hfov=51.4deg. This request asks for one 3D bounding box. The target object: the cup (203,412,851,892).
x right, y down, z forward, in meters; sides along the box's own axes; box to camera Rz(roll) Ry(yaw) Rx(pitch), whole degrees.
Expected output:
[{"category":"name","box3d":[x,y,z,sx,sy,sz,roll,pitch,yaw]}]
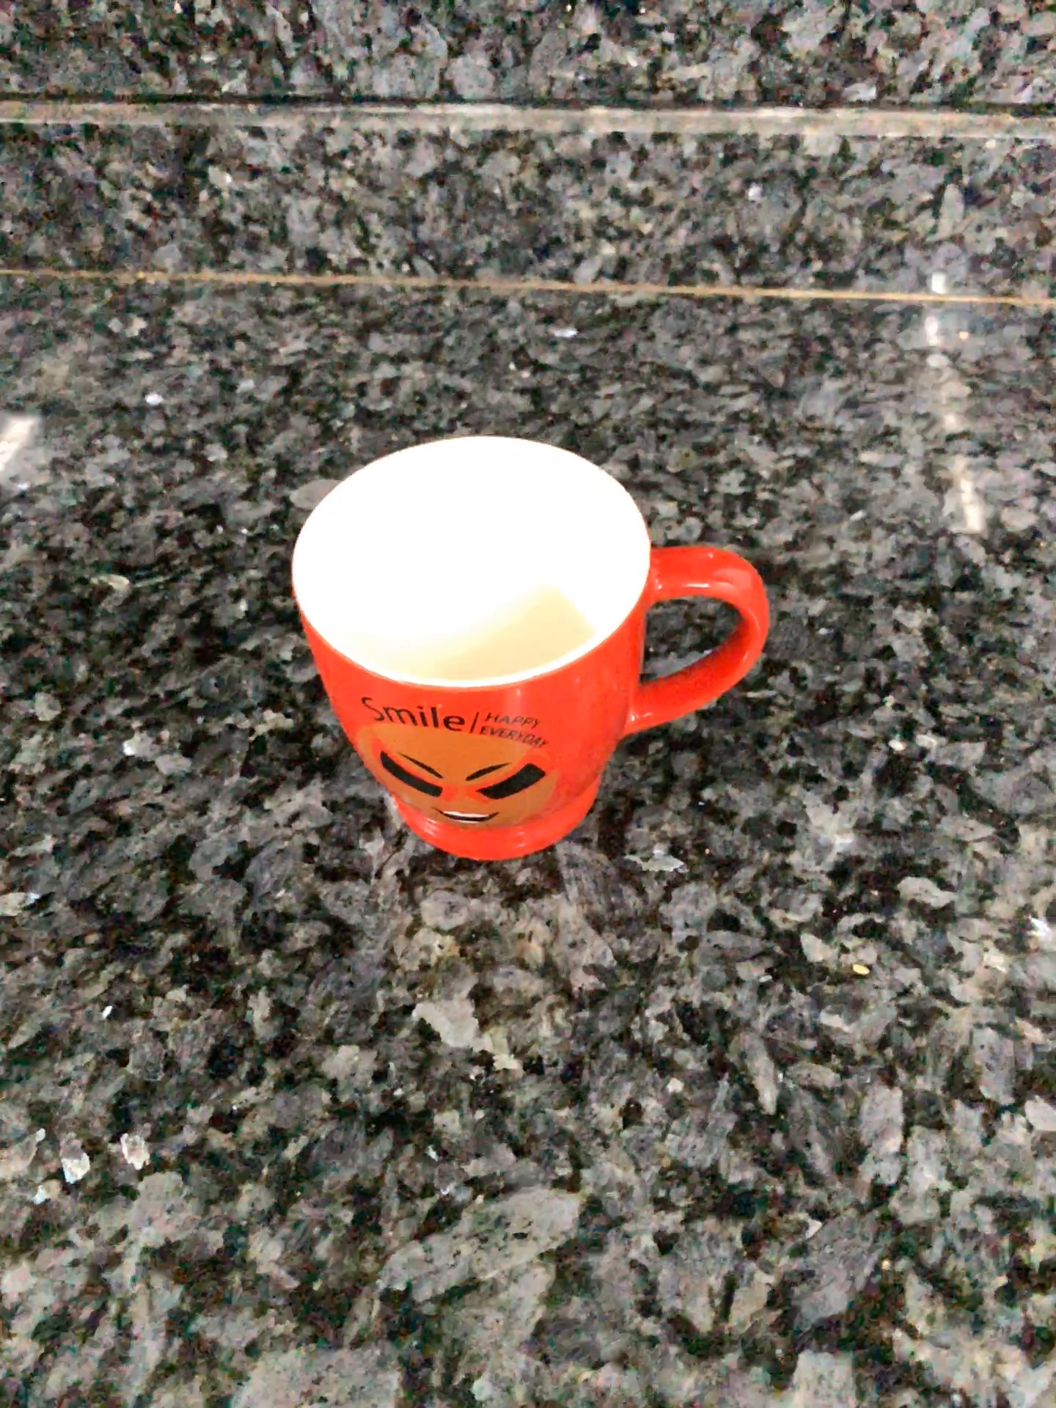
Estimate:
[{"category":"cup","box3d":[0.002,-0.011,0.235,0.110,0.069,0.071,2,52,4]}]
